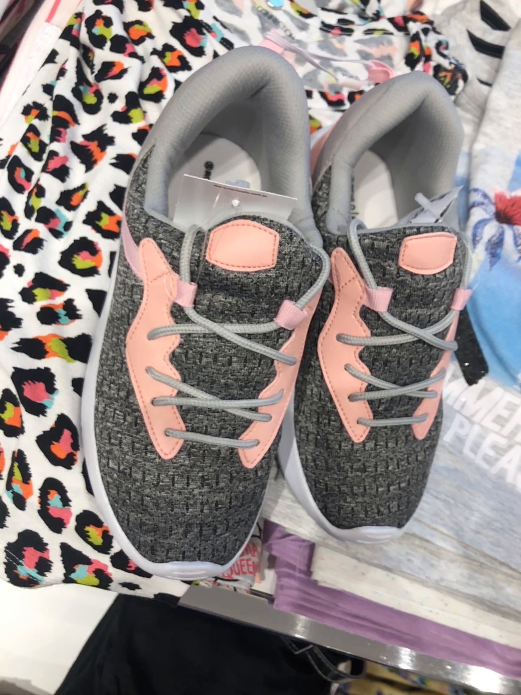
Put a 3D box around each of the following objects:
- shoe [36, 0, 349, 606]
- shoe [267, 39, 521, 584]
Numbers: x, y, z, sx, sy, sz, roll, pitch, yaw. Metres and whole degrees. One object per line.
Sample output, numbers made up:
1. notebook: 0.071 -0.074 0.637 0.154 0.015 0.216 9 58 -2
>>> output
1. shoe: -0.029 -0.016 0.262 0.100 0.100 0.220 5 80 -14
2. shoe: 0.065 -0.012 0.281 0.100 0.100 0.210 3 81 -15
